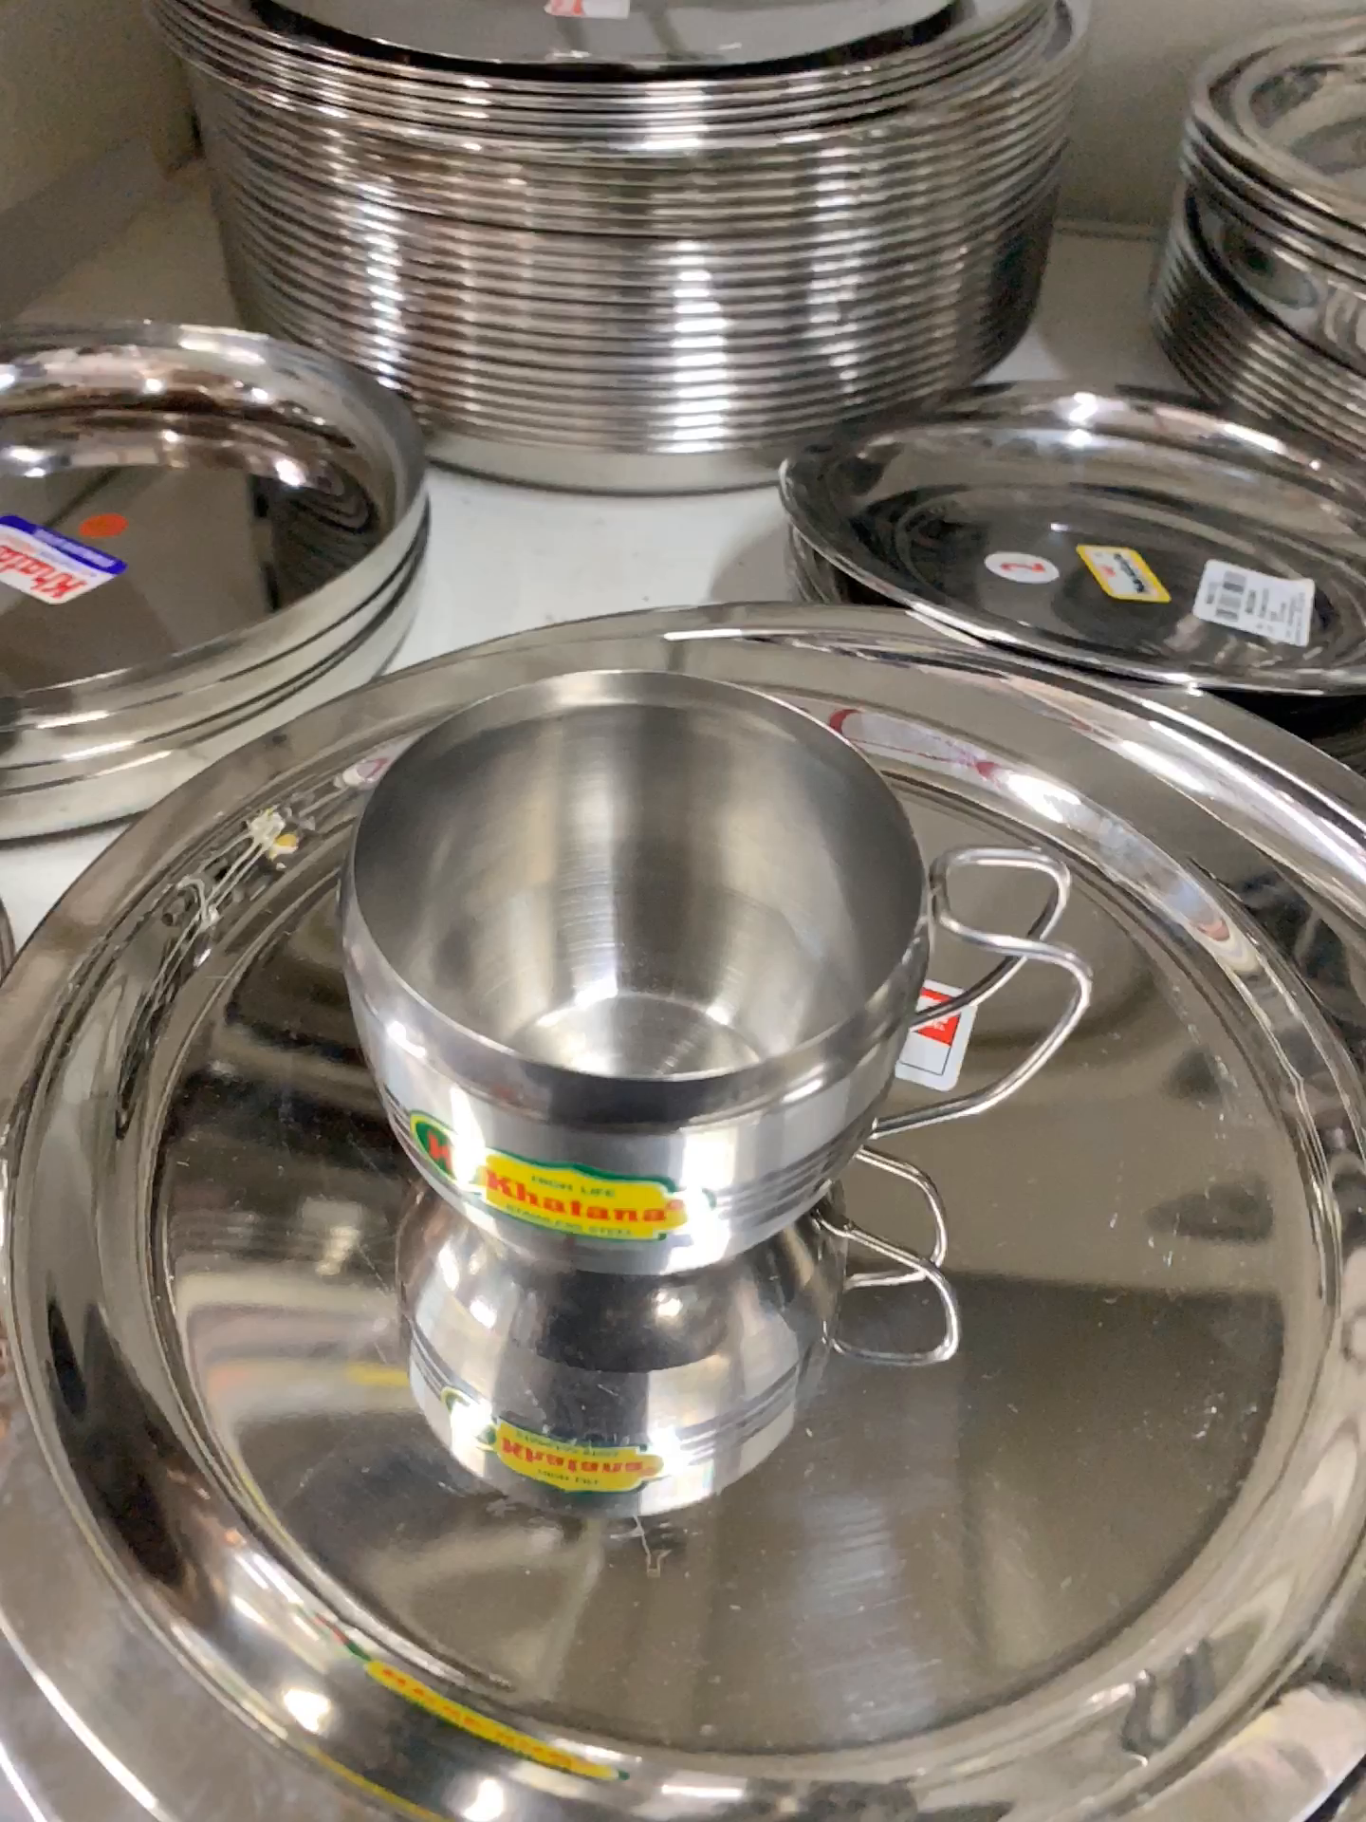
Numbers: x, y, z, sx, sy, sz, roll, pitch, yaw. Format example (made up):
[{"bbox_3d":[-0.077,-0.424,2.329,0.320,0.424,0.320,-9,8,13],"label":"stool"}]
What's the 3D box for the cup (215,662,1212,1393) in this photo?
[{"bbox_3d":[0.004,0.011,0.167,0.090,0.040,0.070,4,46,2],"label":"cup"}]
